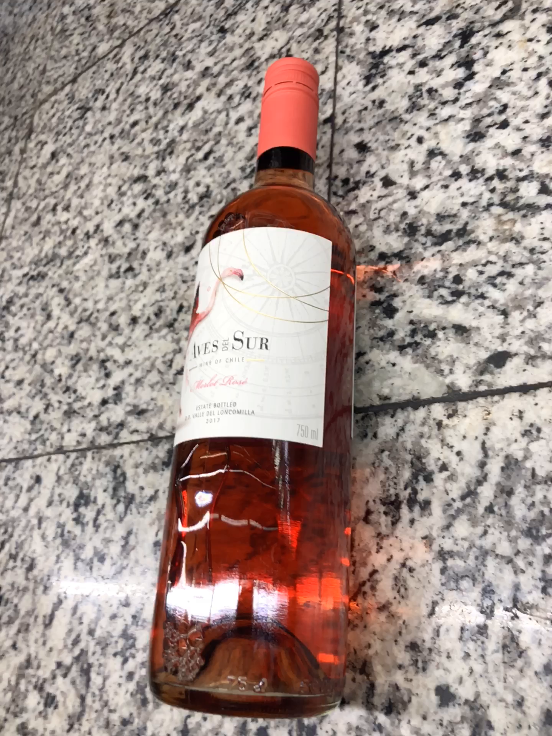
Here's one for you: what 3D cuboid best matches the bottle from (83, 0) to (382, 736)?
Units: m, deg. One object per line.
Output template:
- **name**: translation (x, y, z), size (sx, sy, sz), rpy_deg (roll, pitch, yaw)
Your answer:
- **bottle**: translation (-0.006, -0.023, 0.299), size (0.090, 0.070, 0.341), rpy_deg (-13, 62, 36)
